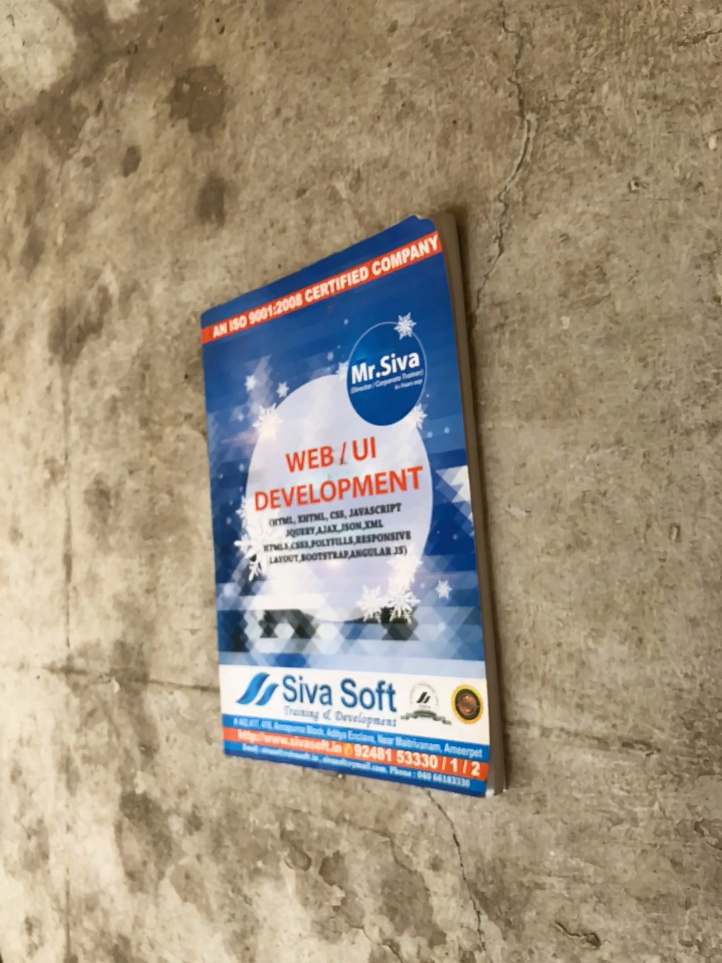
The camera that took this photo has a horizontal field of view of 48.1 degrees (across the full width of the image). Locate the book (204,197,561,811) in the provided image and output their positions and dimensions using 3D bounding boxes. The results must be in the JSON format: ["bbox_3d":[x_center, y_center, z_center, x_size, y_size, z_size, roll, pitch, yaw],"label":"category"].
[{"bbox_3d":[-0.004,0.018,0.450,0.211,0.030,0.280,-9,84,43],"label":"book"}]
